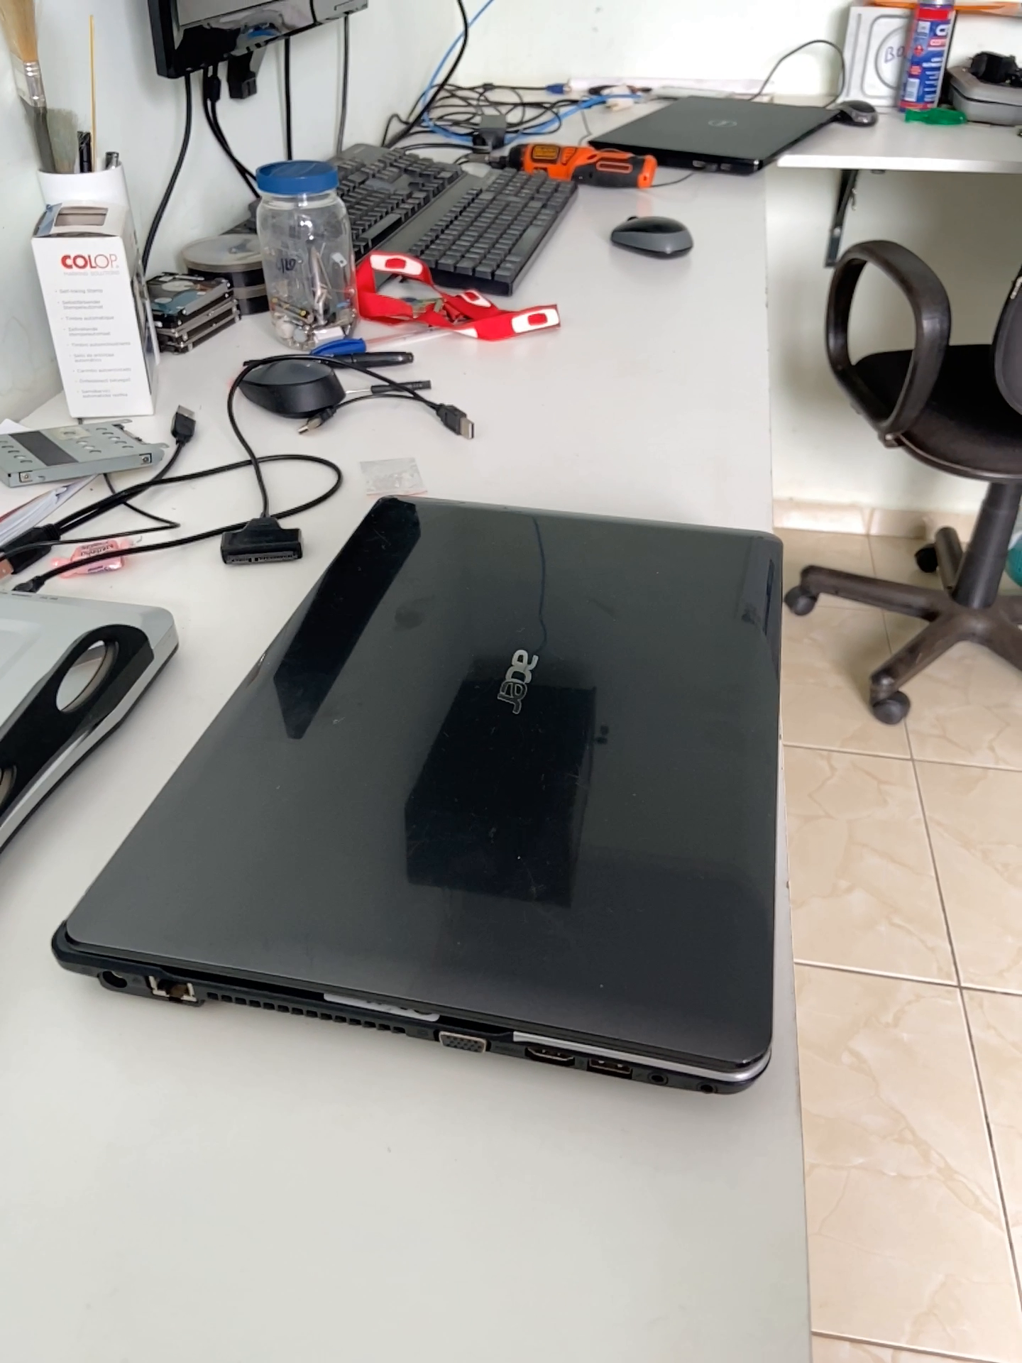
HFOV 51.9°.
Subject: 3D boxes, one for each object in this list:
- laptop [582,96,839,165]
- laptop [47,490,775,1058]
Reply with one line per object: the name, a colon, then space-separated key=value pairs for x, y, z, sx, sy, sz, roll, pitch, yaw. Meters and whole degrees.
laptop: x=0.270 y=-0.719 z=1.355 sx=0.238 sy=0.001 sz=0.437 roll=17 pitch=39 yaw=23
laptop: x=-0.005 y=-0.001 z=0.459 sx=0.230 sy=0.005 sz=0.337 roll=6 pitch=36 yaw=11
